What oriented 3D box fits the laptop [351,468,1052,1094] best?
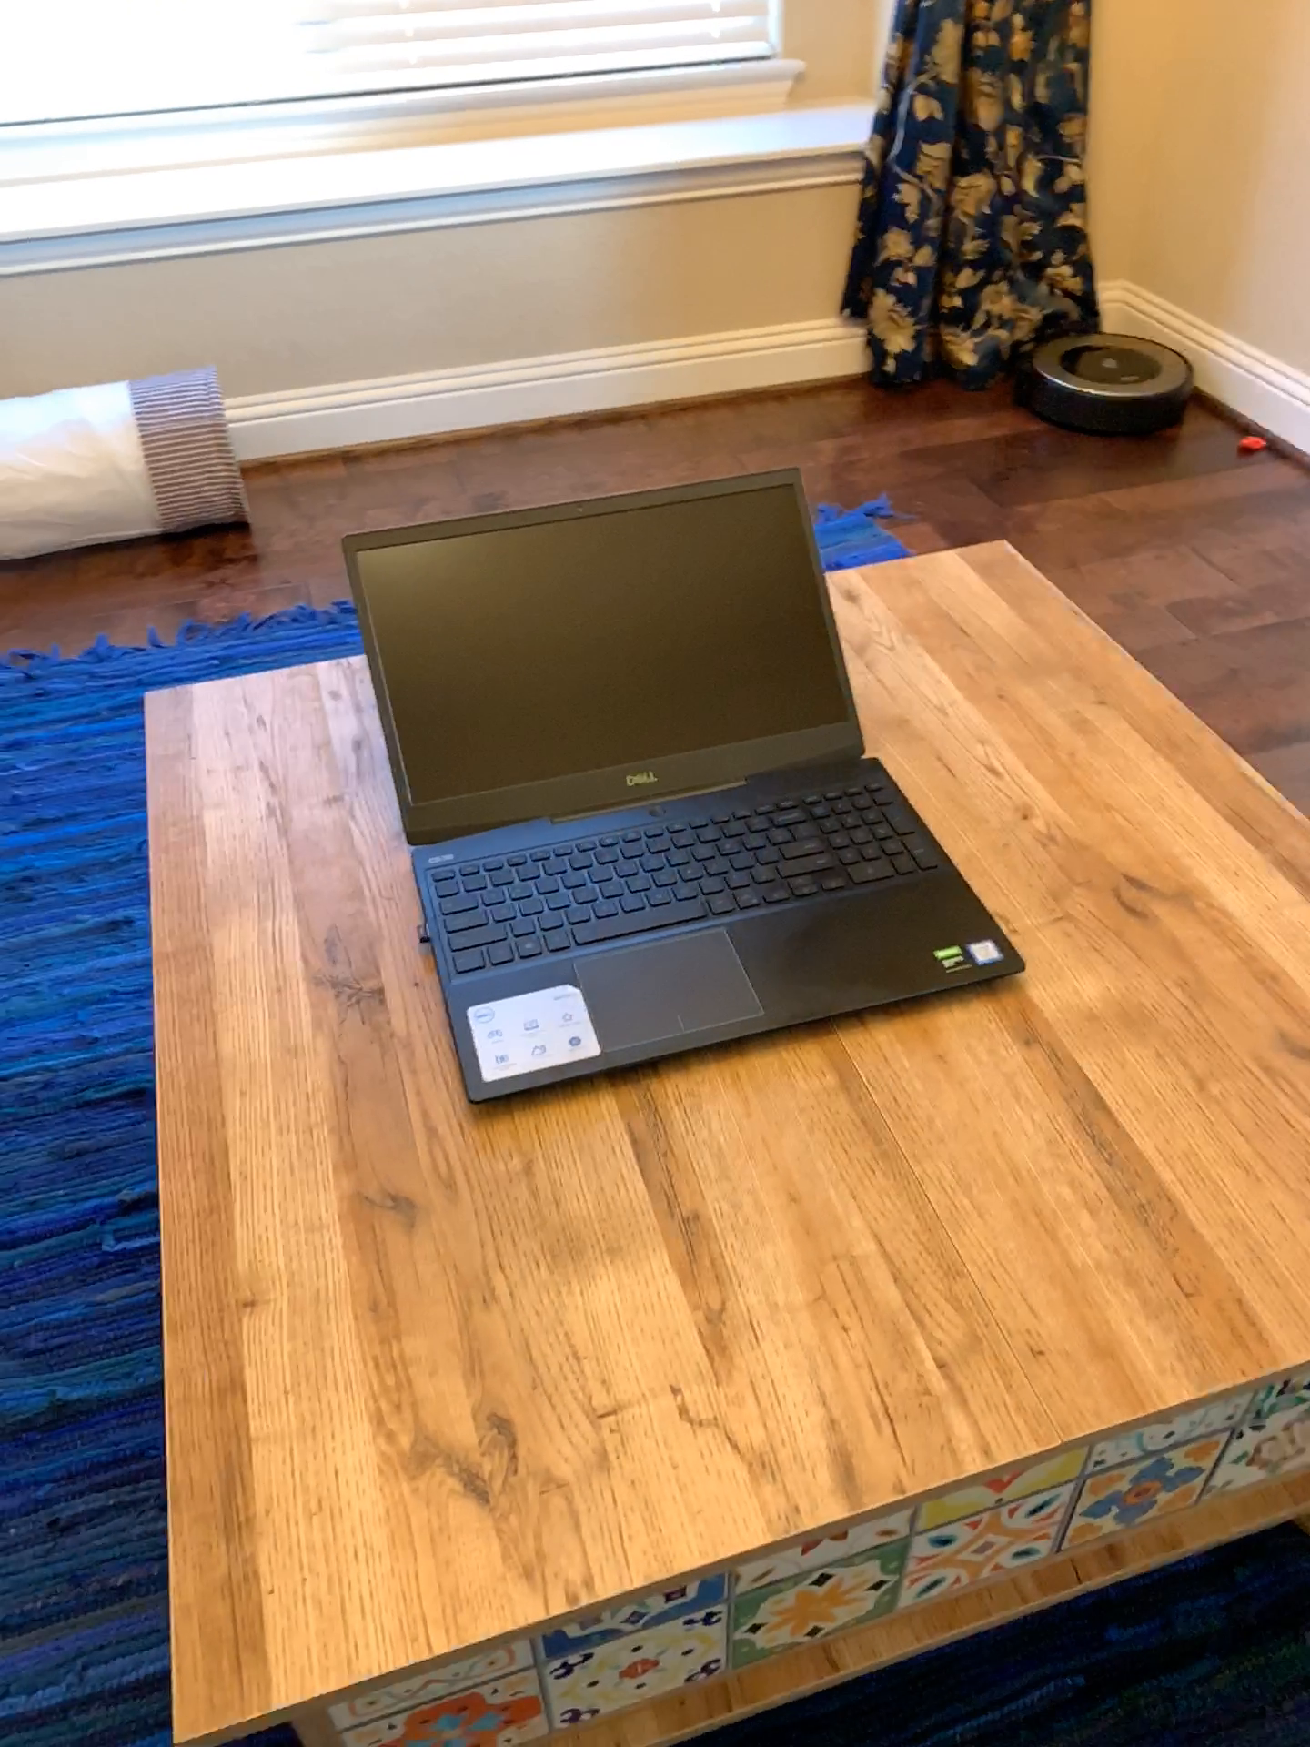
[{"bbox_3d":[0.000,-0.095,0.920,0.345,0.156,0.420,-12,42,-11],"label":"laptop"}]
